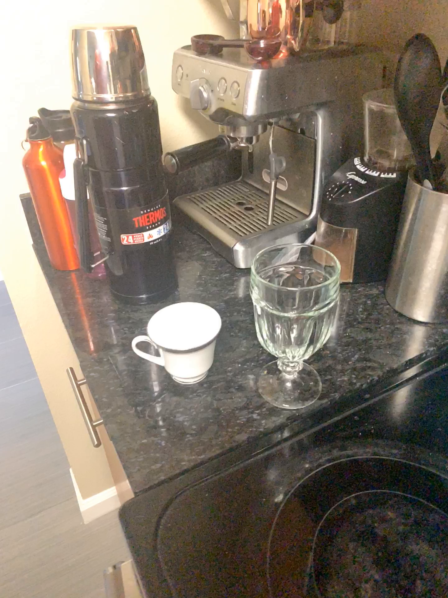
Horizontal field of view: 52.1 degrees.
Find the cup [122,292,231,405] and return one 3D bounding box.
[{"bbox_3d":[-0.059,0.057,0.565,0.110,0.070,0.101,-2,35,1],"label":"cup"}]

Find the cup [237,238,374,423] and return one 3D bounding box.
[{"bbox_3d":[0.084,0.036,0.529,0.110,0.169,0.101,-2,35,1],"label":"cup"}]
